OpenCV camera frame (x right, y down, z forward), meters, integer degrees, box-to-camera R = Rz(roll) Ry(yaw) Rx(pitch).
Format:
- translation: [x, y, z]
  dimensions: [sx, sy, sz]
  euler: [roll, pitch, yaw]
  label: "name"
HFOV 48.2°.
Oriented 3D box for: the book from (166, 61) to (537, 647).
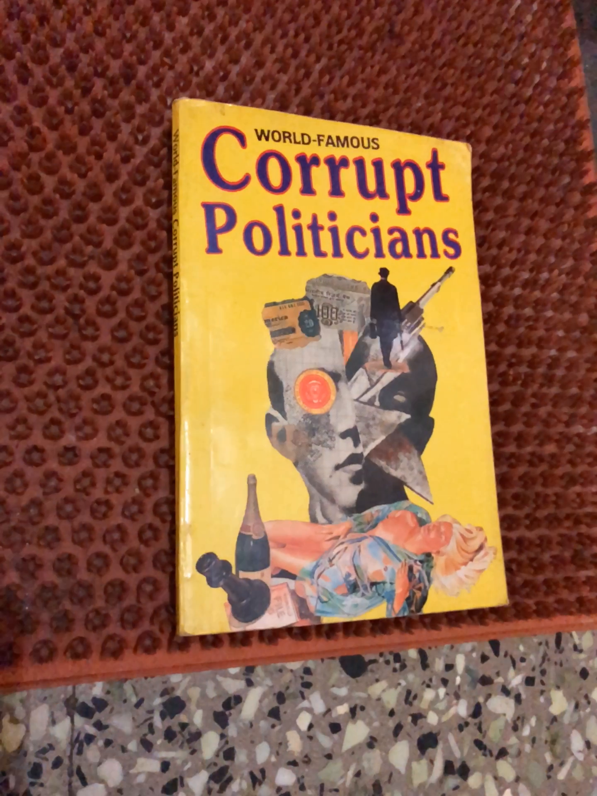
- translation: [0.021, -0.023, 0.286]
  dimensions: [0.150, 0.020, 0.230]
  euler: [2, 77, -19]
  label: "book"
